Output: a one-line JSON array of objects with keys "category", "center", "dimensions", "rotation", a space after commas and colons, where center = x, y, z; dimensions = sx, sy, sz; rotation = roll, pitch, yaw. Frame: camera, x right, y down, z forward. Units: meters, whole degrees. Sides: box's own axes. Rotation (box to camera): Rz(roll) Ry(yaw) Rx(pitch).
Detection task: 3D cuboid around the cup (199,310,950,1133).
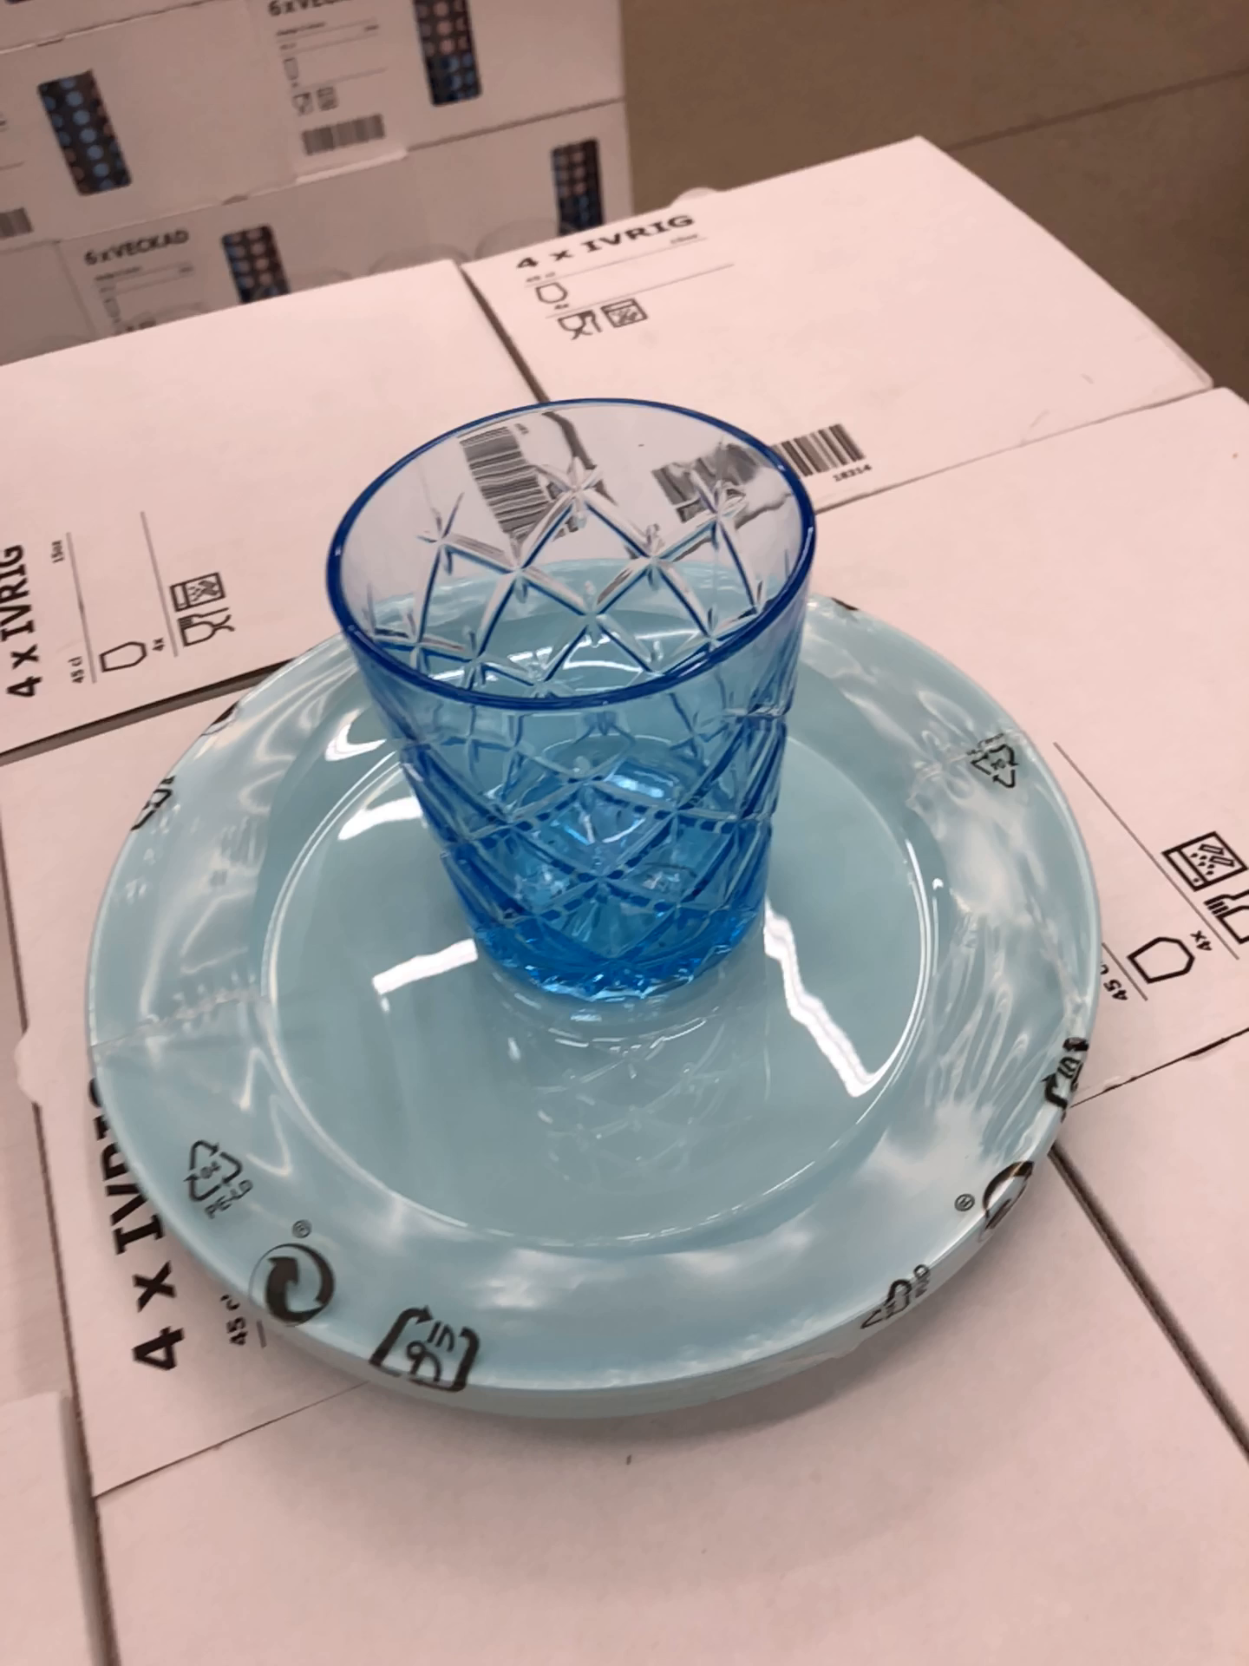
[{"category": "cup", "center": [-0.005, -0.023, 0.273], "dimensions": [0.090, 0.100, 0.090], "rotation": [-3, 50, 4]}]
